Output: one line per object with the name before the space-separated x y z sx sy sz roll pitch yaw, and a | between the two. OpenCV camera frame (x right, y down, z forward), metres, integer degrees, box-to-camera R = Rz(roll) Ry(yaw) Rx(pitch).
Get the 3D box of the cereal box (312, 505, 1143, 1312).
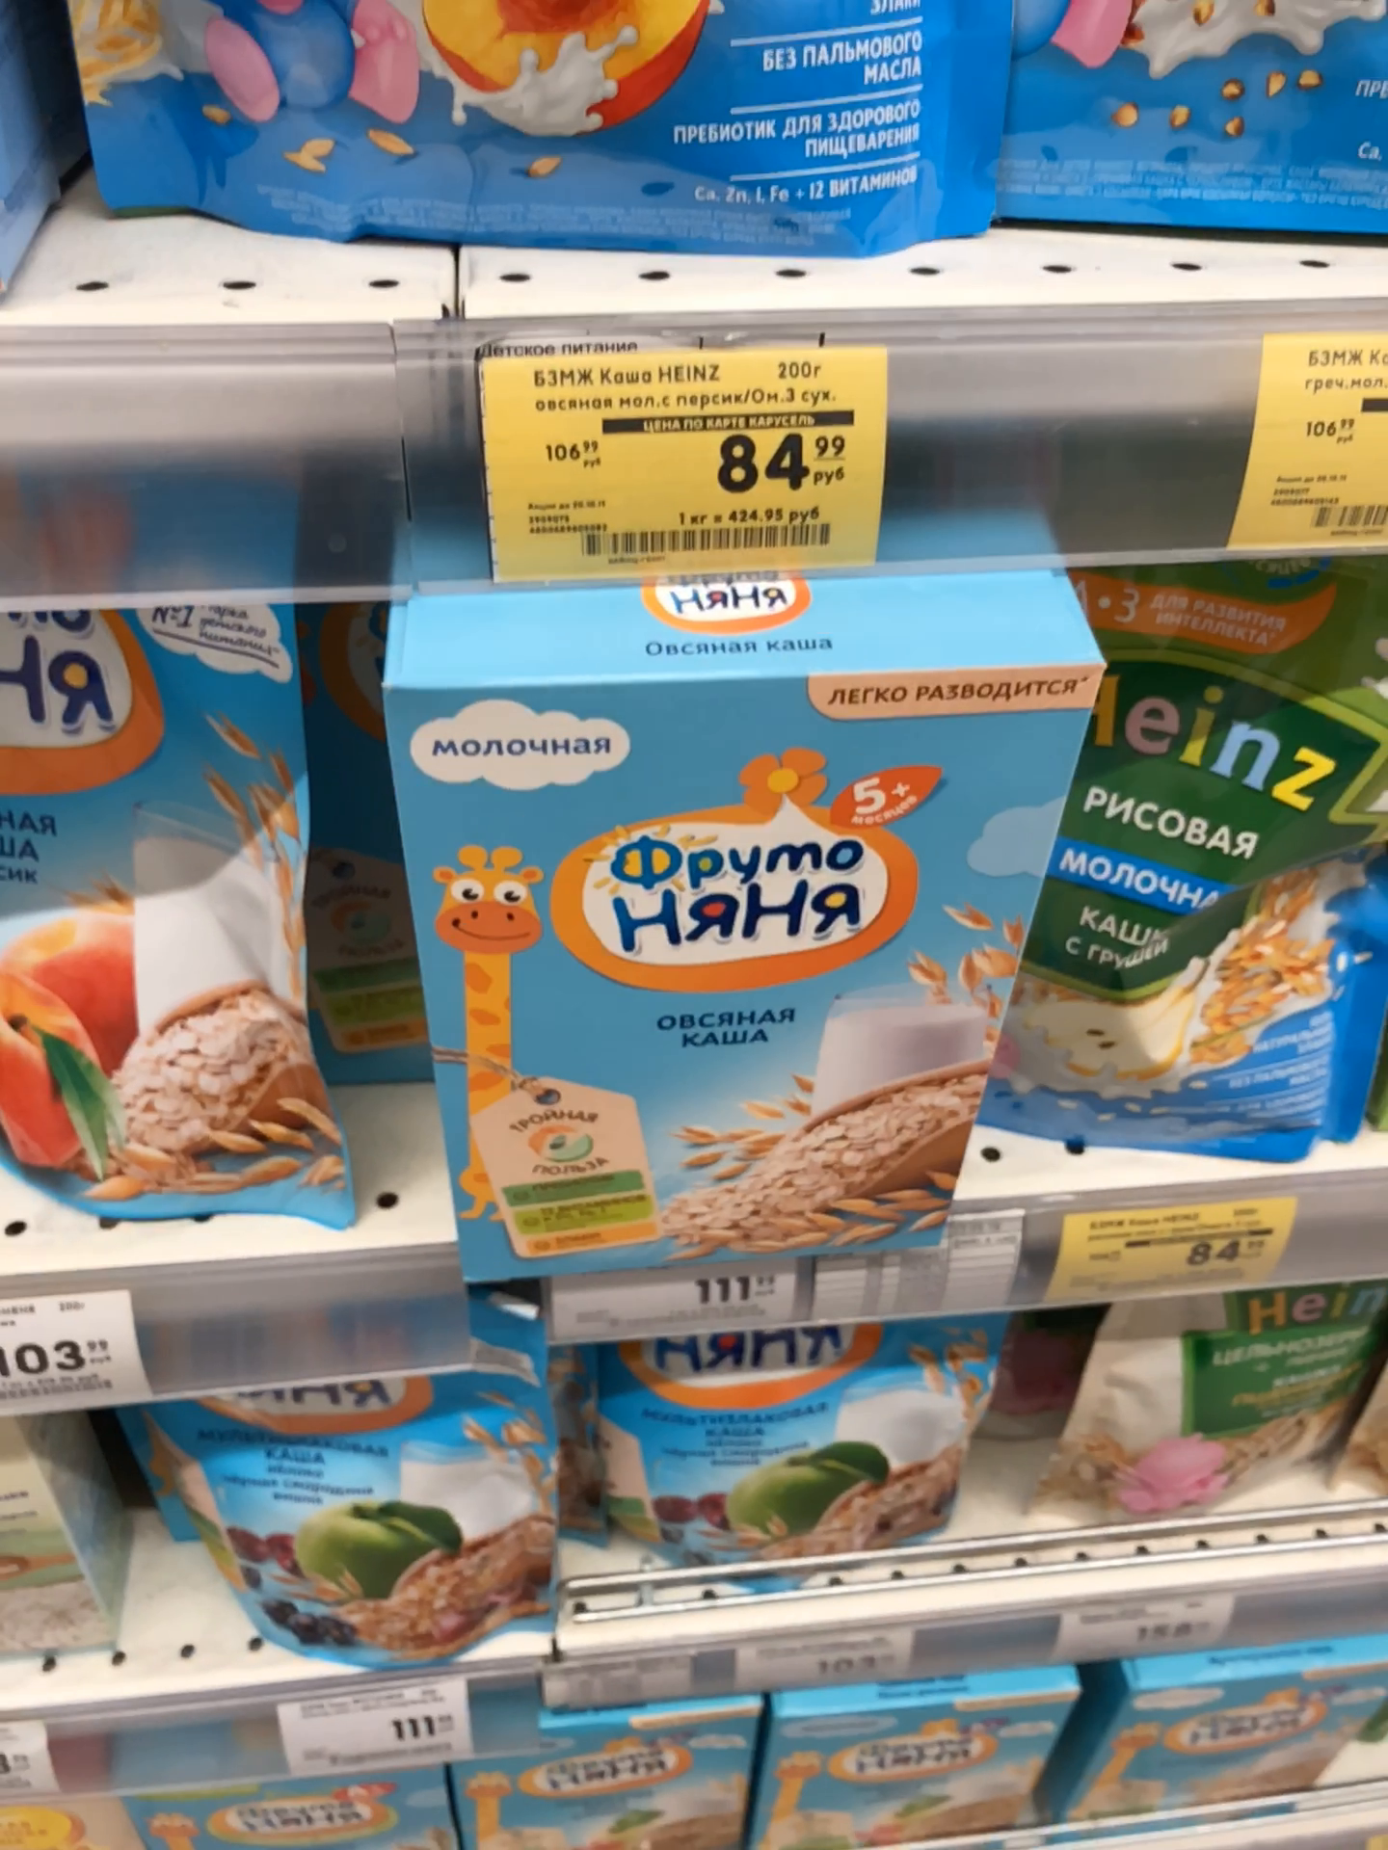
cereal box | 0.001 0.009 0.348 0.140 0.199 0.050 -3 47 -6
